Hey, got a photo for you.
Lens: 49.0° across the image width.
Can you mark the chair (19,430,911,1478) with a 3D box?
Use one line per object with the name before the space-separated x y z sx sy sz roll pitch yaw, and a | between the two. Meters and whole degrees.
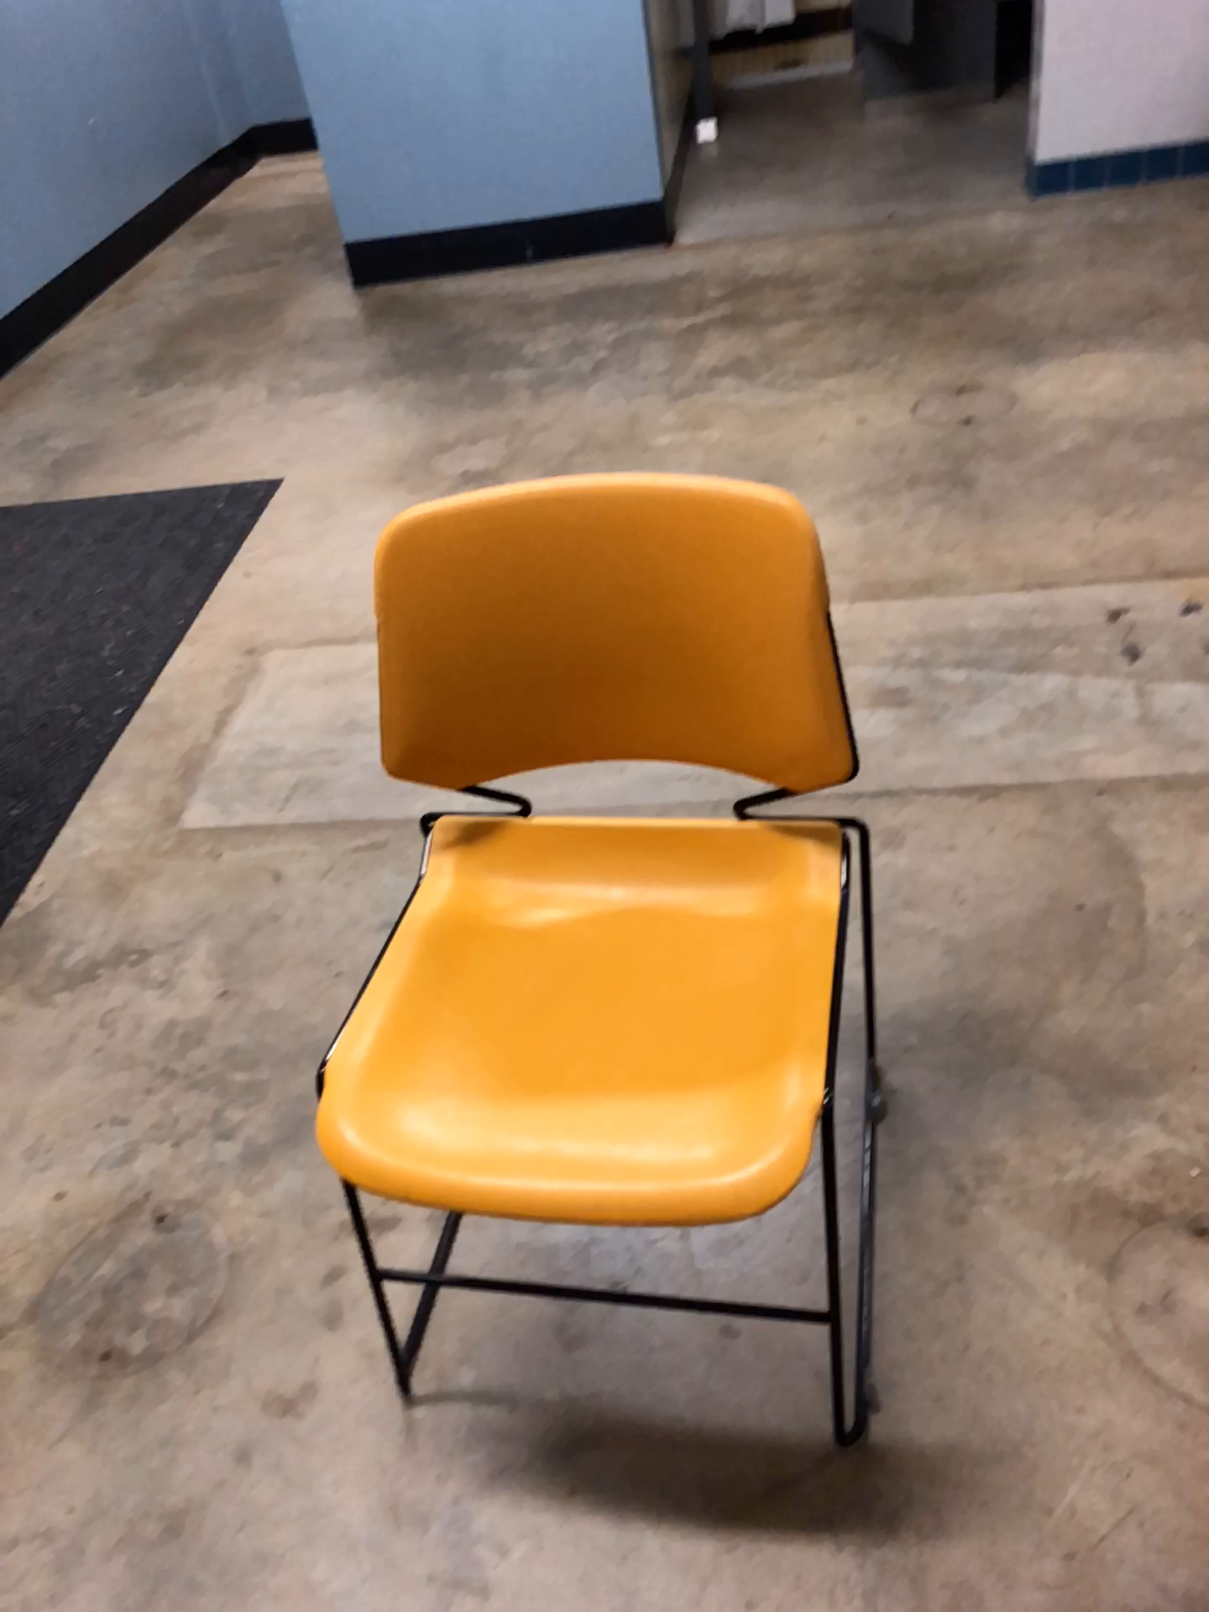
chair | -0.006 0.130 1.290 0.578 0.736 0.617 0 39 14
